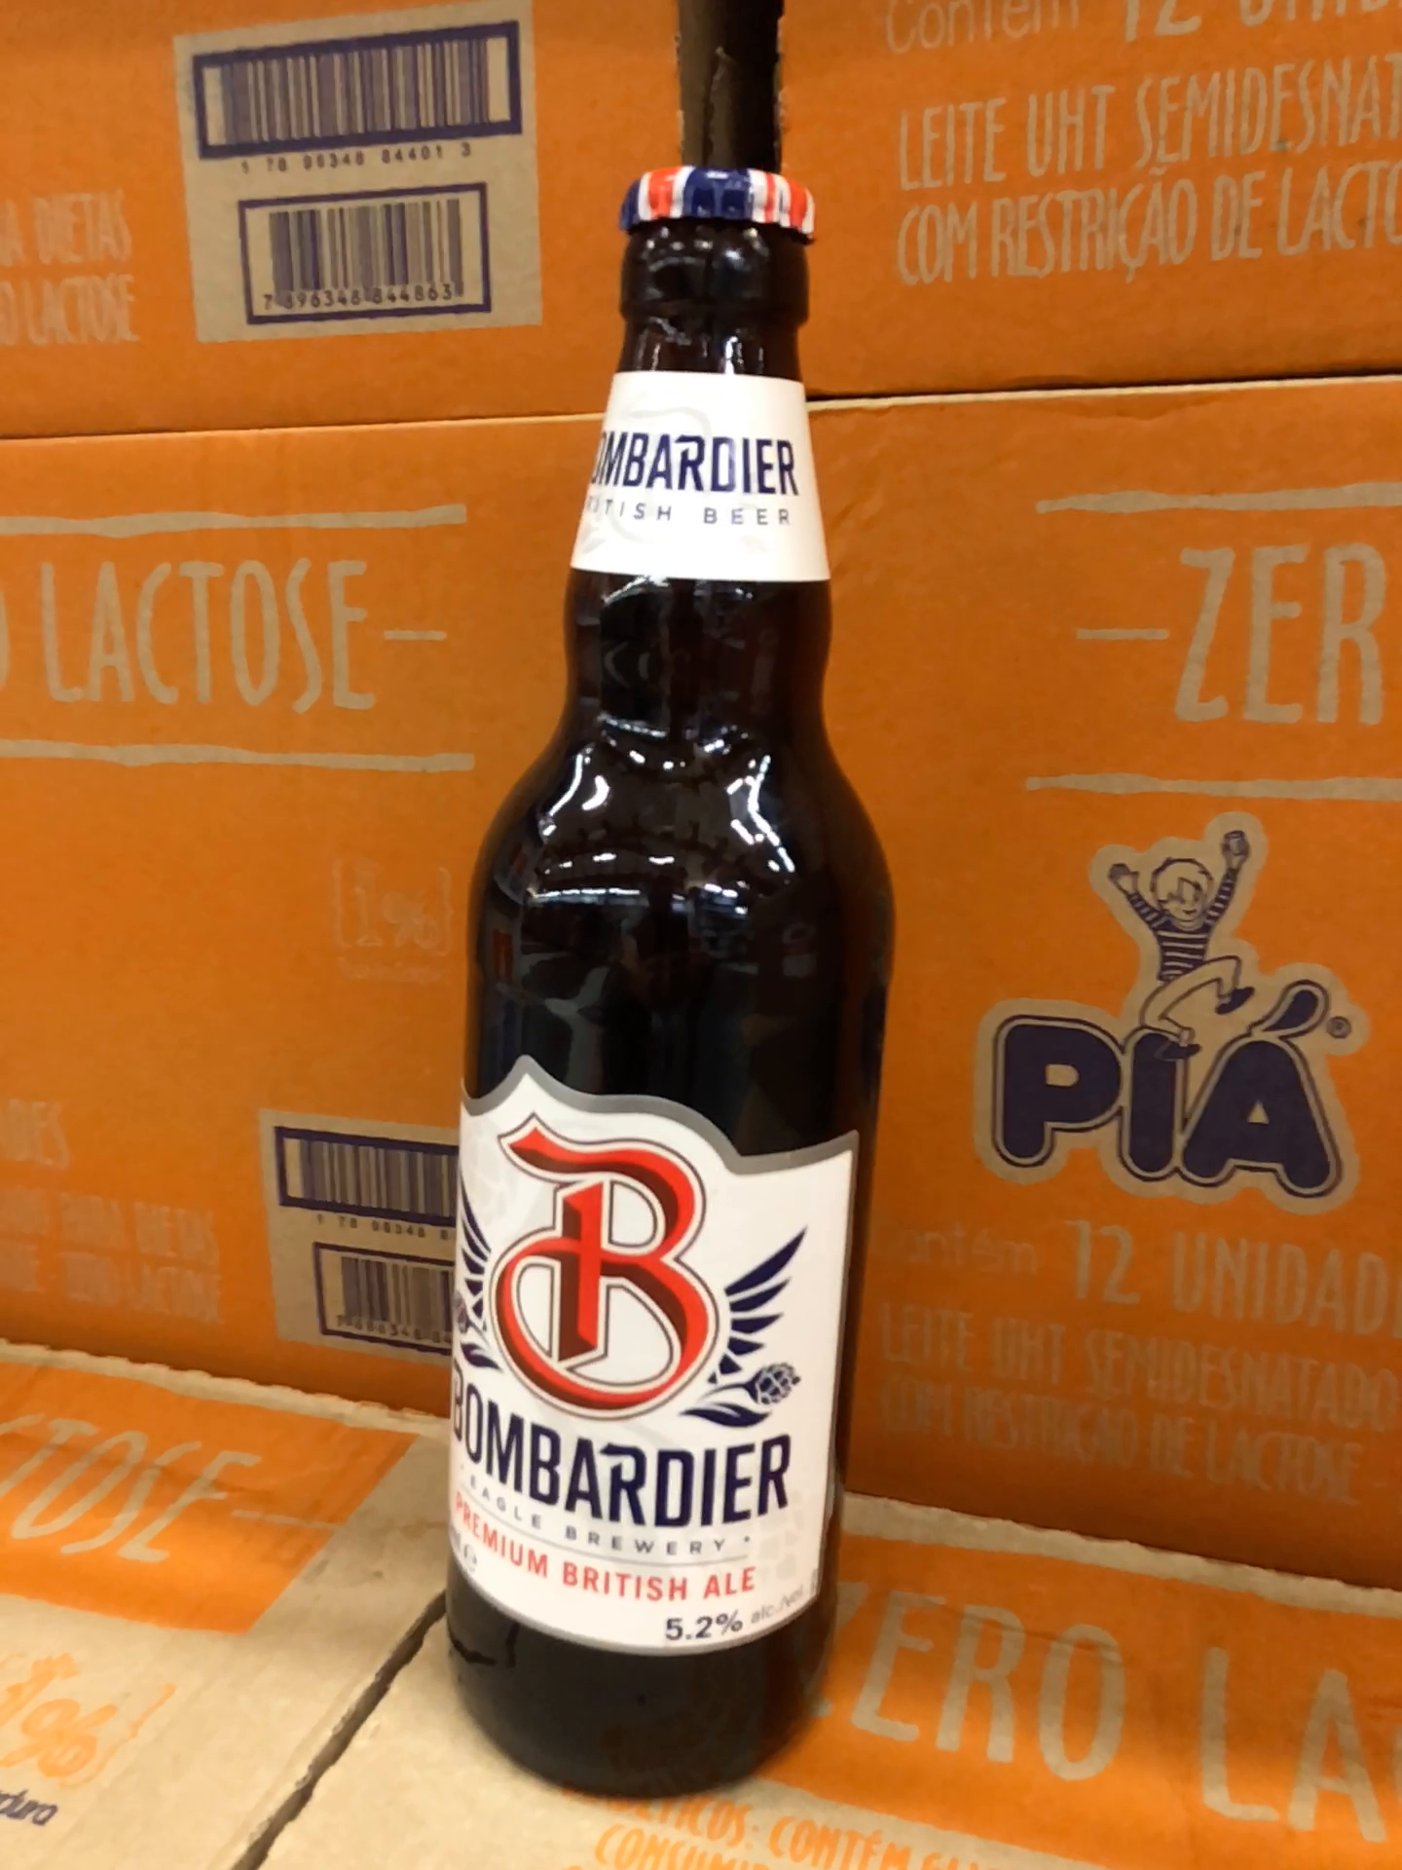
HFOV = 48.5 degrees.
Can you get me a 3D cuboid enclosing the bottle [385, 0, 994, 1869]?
[{"bbox_3d":[-0.002,0.006,0.248,0.070,0.259,0.060,6,13,19],"label":"bottle"}]
